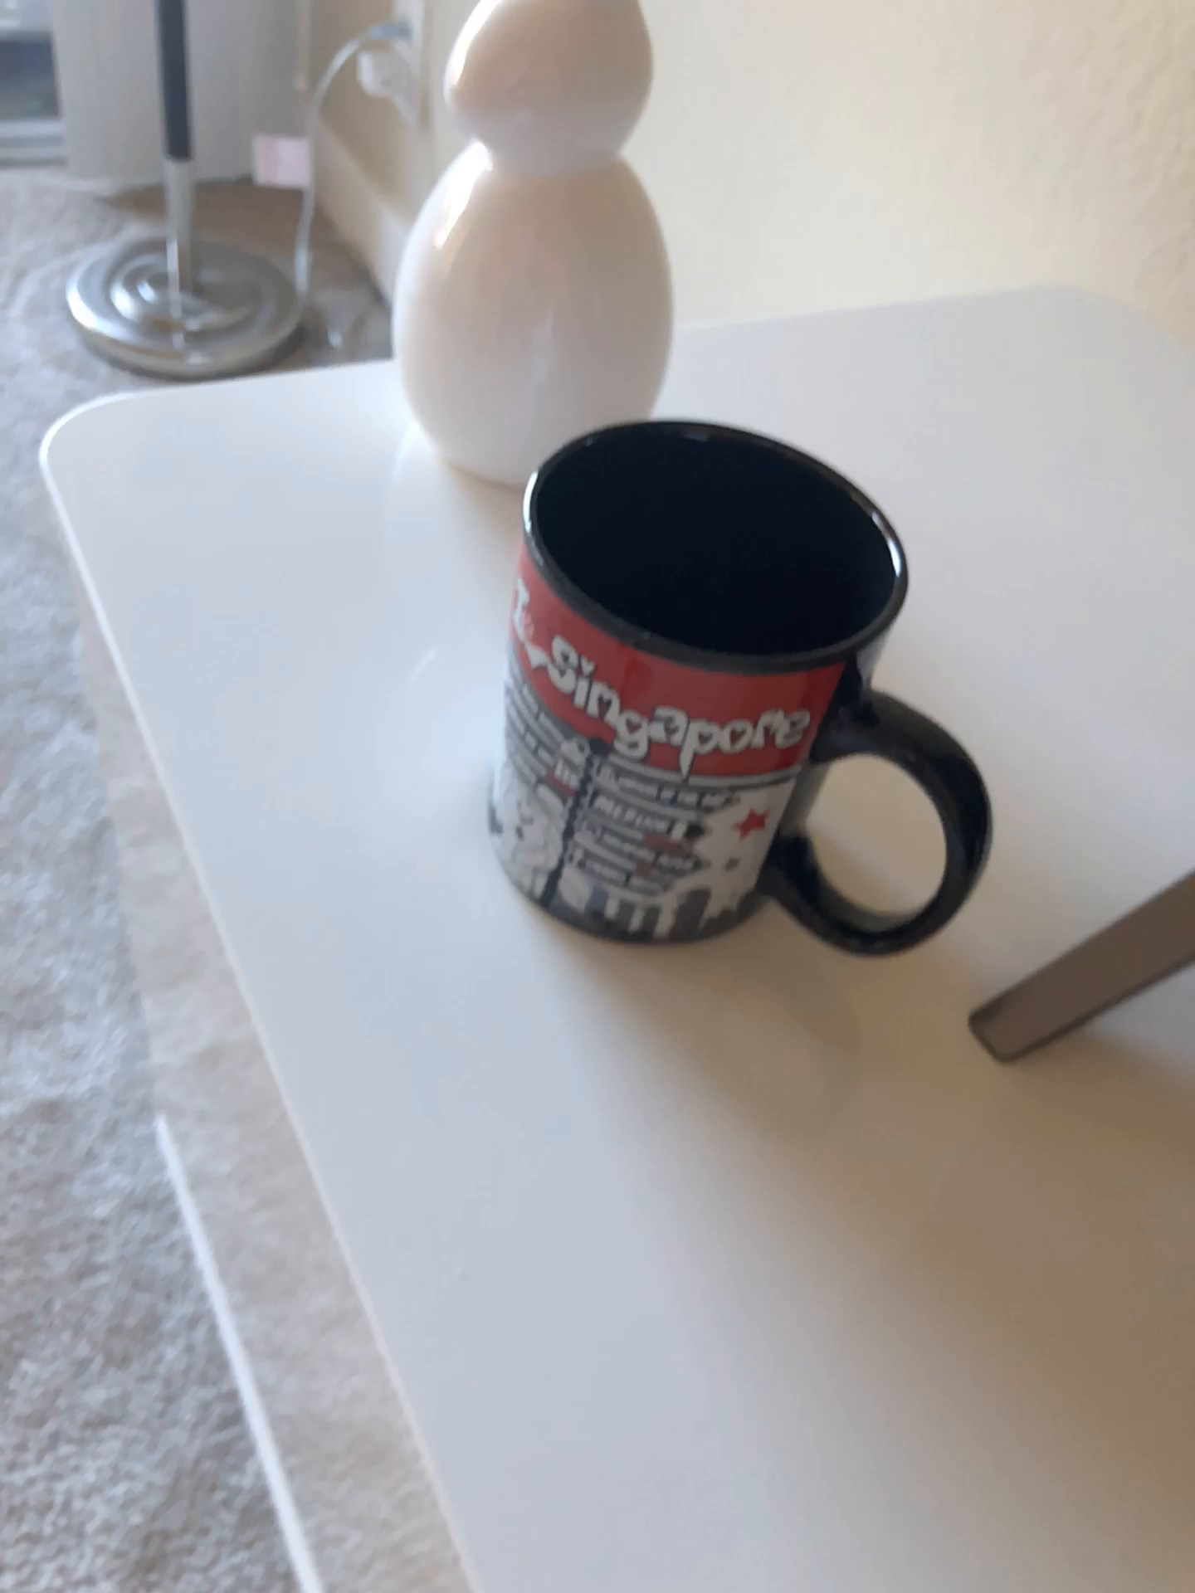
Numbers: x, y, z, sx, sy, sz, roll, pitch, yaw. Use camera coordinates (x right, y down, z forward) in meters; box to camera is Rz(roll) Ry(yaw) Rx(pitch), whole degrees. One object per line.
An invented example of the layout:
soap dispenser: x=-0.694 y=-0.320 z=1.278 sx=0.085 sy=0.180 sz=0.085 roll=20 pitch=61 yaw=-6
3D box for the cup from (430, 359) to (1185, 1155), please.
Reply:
cup: x=0.037 y=-0.010 z=0.306 sx=0.120 sy=0.110 sz=0.080 roll=38 pitch=51 yaw=21
